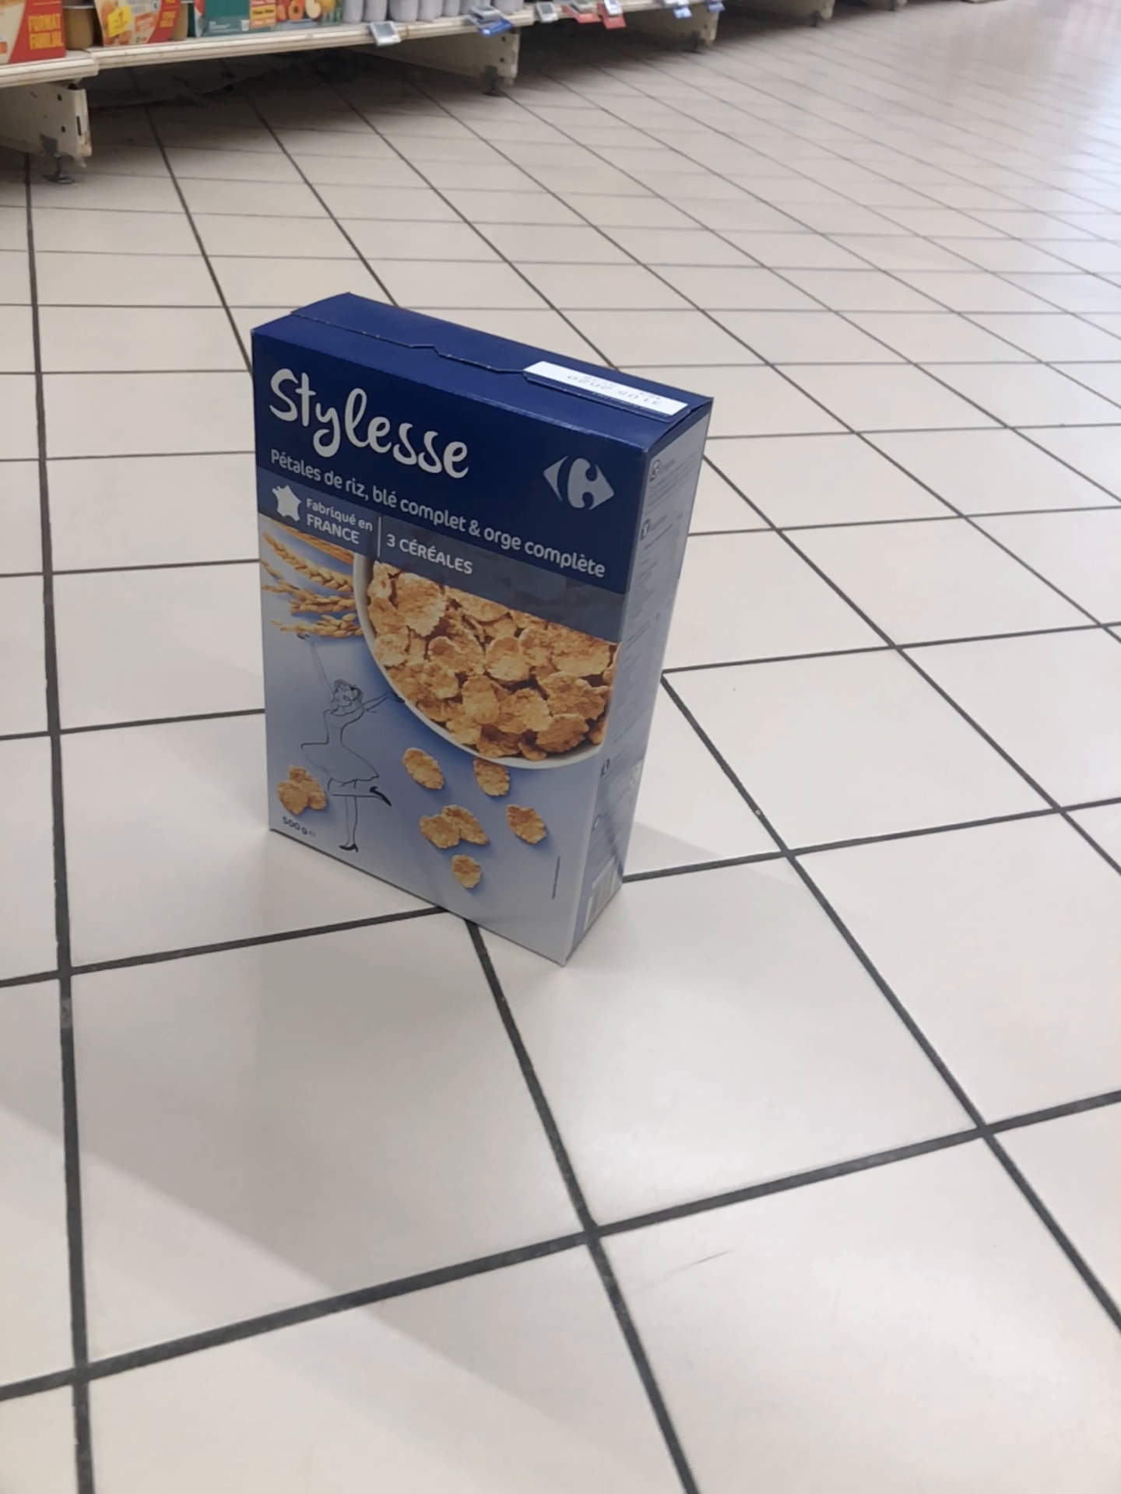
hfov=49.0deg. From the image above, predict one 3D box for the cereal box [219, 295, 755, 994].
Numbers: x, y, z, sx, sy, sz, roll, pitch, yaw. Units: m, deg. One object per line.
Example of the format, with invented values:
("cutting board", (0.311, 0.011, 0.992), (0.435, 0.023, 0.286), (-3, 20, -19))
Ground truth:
("cereal box", (-0.045, -0.043, 0.593), (0.210, 0.278, 0.081), (21, 38, 17))
